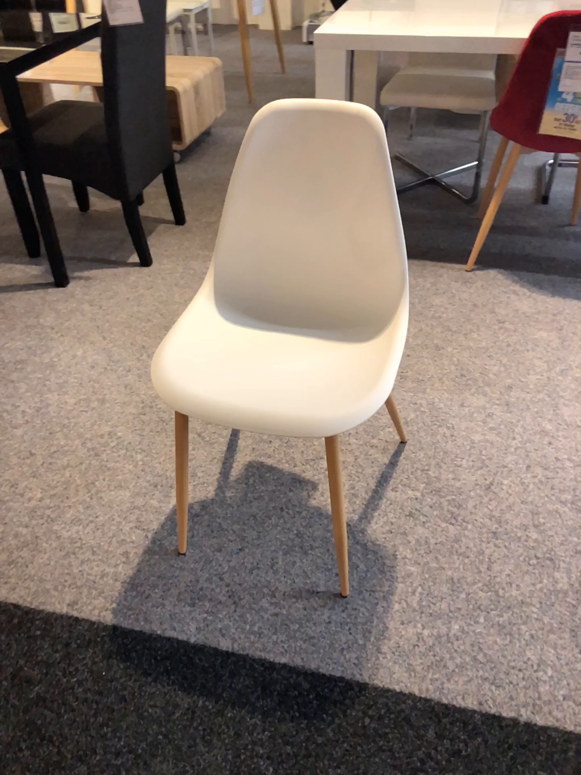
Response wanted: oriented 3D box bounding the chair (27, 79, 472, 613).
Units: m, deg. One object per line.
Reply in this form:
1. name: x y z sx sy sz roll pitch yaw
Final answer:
1. chair: -0.006 -0.099 1.330 0.570 0.845 0.604 10 40 14
